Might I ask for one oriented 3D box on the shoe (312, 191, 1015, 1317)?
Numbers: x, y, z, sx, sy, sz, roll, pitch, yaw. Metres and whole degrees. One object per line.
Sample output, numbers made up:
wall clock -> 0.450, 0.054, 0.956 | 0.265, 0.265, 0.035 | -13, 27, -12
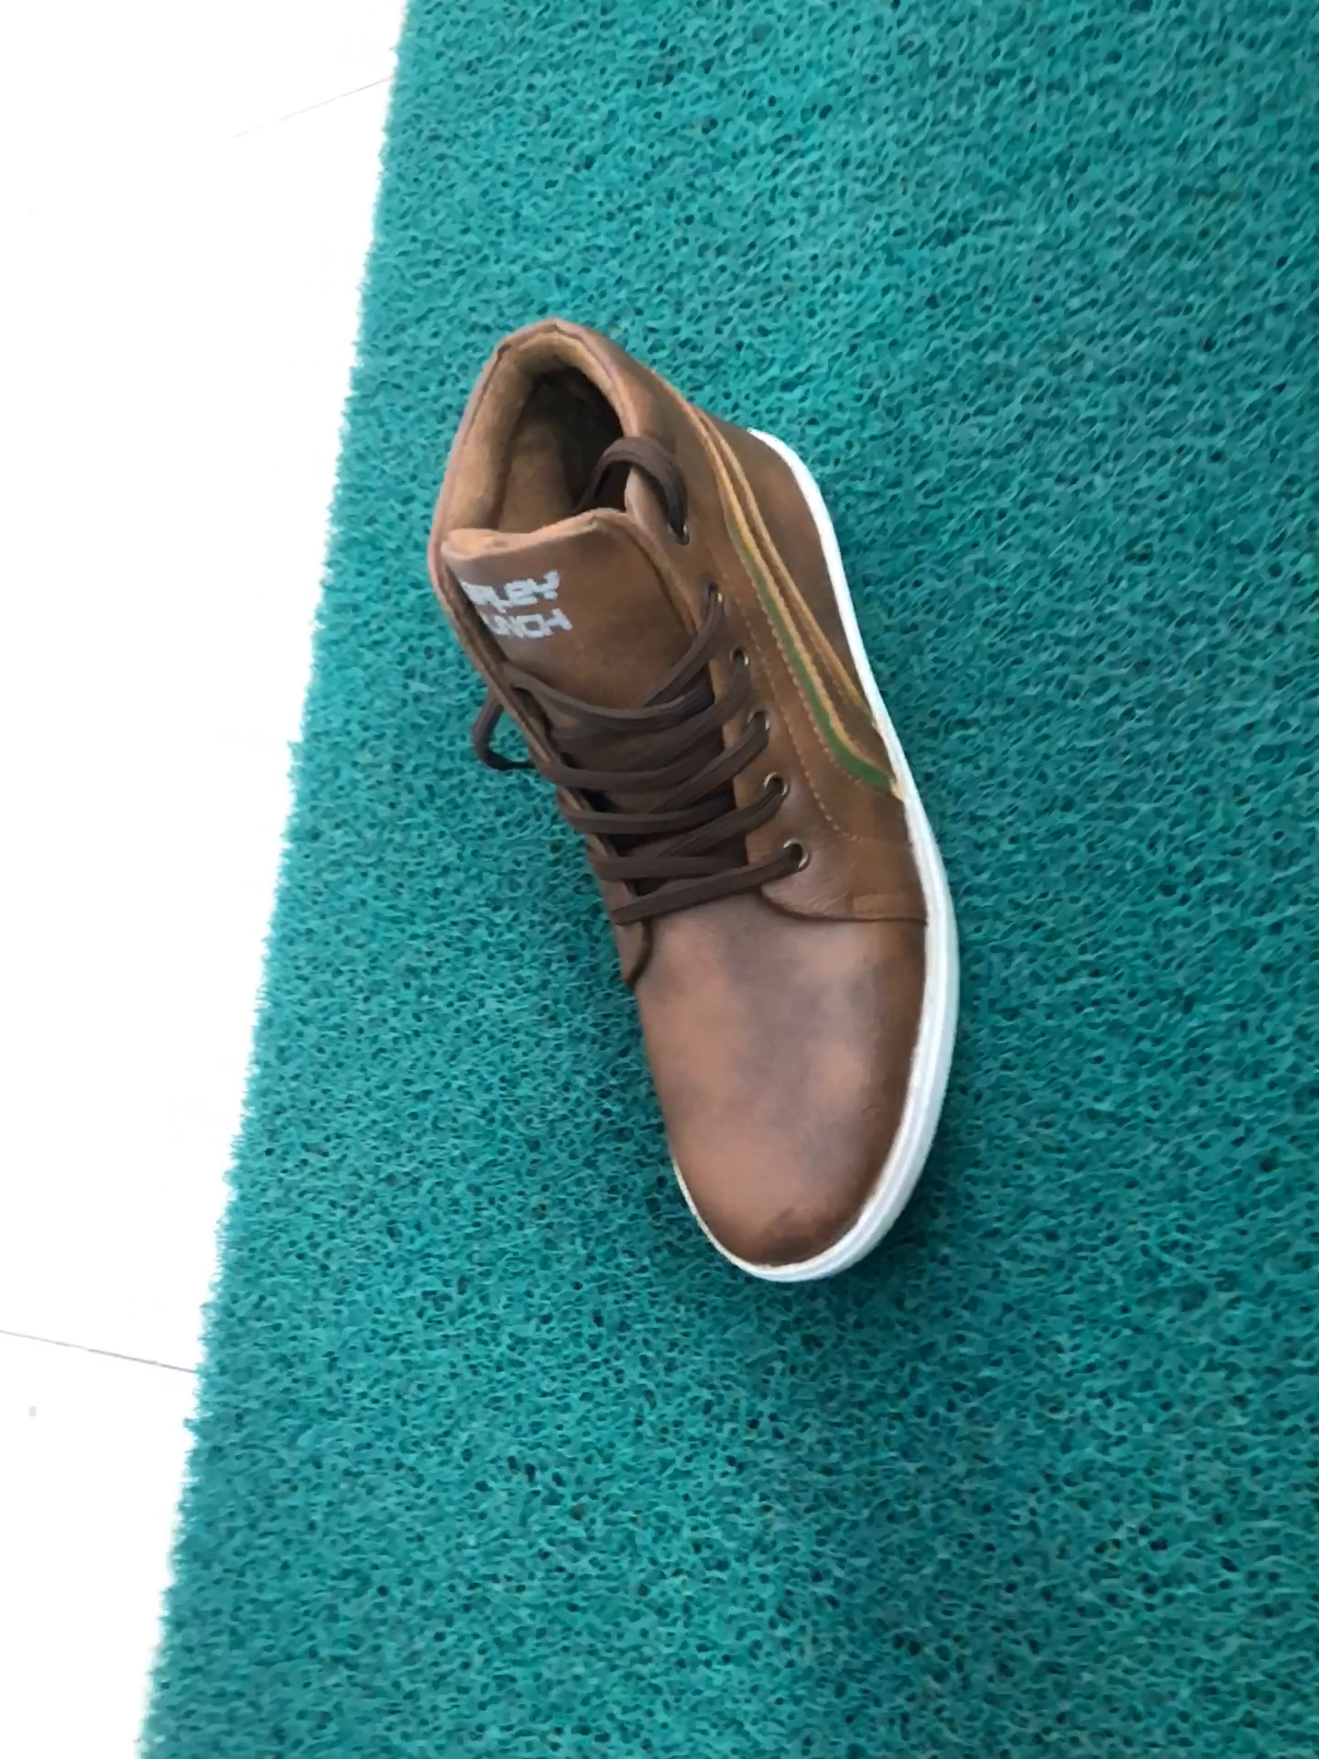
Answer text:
shoe -> 0.005, -0.020, 0.435 | 0.090, 0.190, 0.270 | -18, 69, 26
